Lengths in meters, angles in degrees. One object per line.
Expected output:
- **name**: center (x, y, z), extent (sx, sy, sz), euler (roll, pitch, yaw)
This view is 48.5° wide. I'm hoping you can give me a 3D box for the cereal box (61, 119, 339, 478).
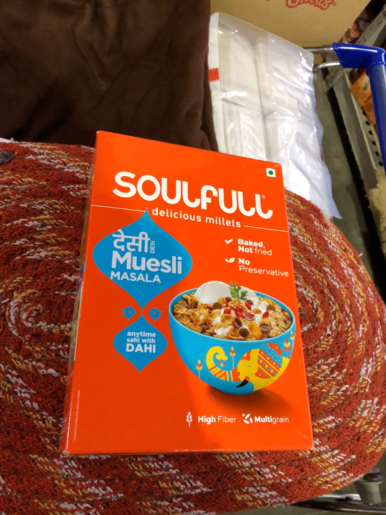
- **cereal box**: center (0.000, 0.025, 0.346), extent (0.180, 0.060, 0.261), euler (5, 65, -15)
